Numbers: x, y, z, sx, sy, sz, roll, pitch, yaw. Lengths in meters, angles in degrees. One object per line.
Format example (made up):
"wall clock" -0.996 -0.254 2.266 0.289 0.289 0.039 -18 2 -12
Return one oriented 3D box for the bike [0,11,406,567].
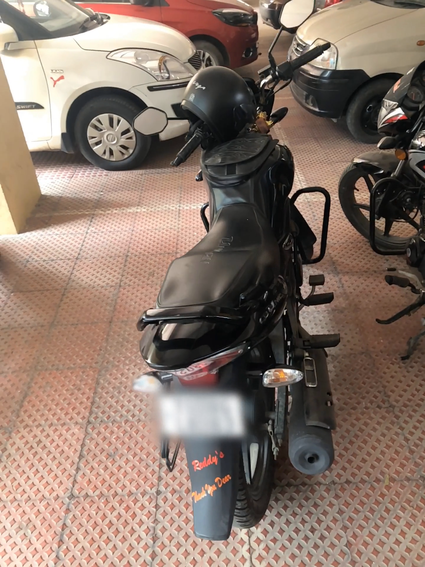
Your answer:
"bike" -0.038 -0.175 1.756 0.804 1.200 1.692 0 38 6
